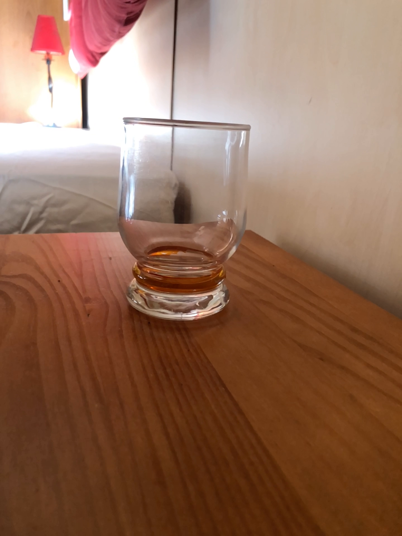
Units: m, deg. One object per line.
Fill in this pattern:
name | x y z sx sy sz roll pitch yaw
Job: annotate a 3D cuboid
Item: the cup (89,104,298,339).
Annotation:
cup | -0.008 -0.032 0.240 0.076 0.100 0.073 4 18 -1
